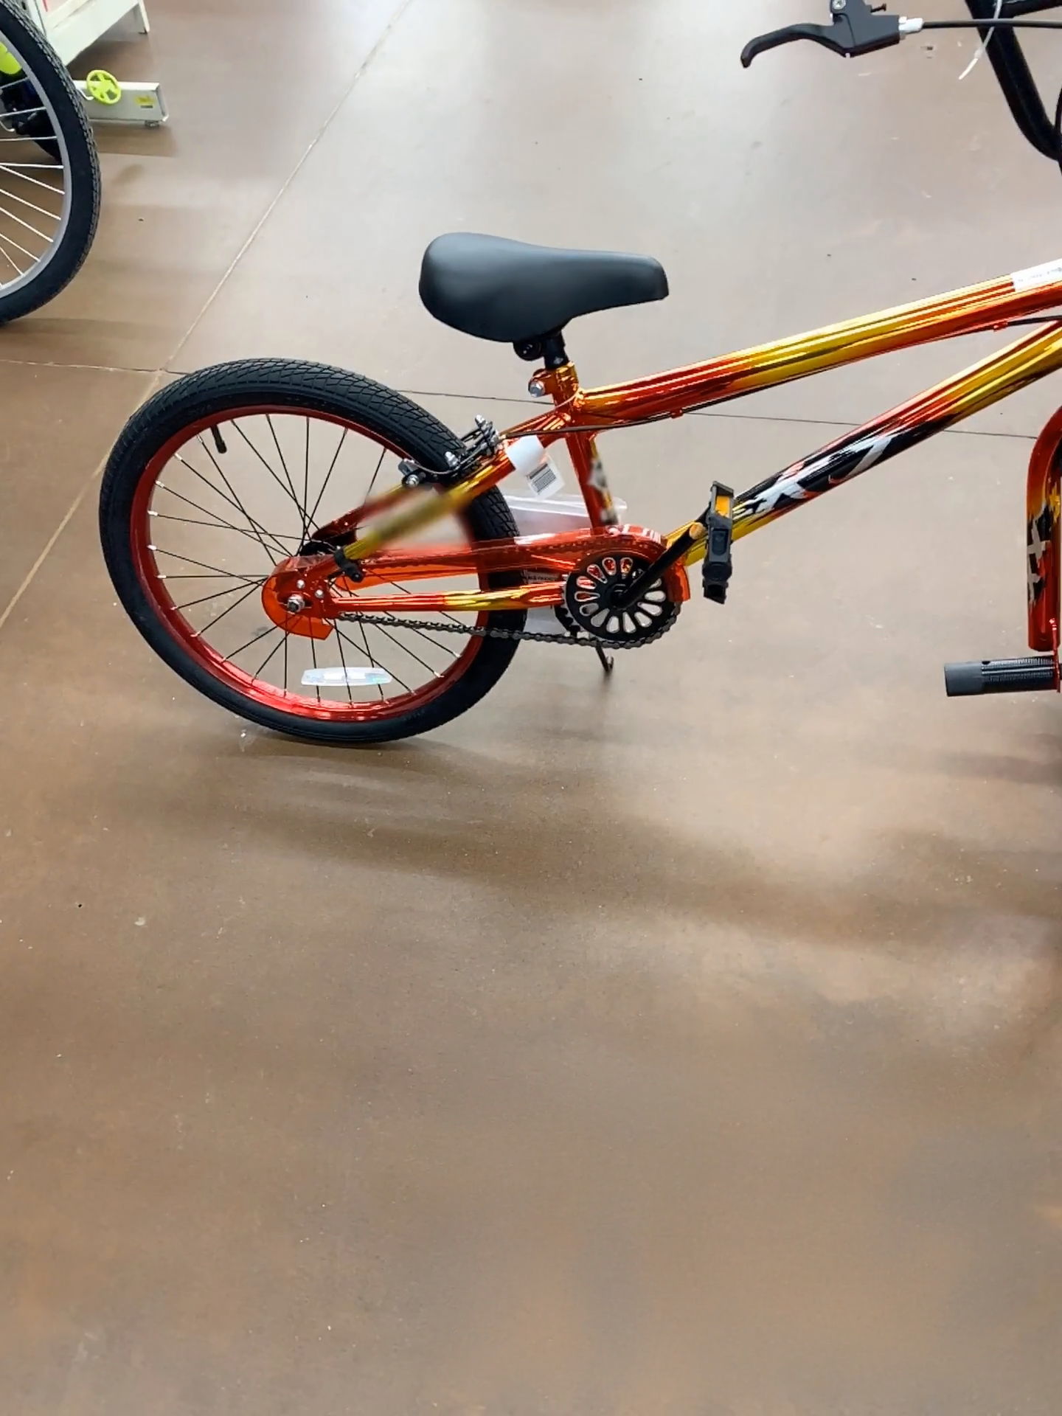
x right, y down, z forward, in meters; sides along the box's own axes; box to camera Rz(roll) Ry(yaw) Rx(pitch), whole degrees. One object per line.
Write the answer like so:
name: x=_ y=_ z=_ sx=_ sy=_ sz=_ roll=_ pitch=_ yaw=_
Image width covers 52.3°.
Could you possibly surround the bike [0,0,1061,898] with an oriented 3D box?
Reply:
bike: x=0.092 y=-0.412 z=1.071 sx=1.122 sy=0.926 sz=0.706 roll=-2 pitch=49 yaw=1
